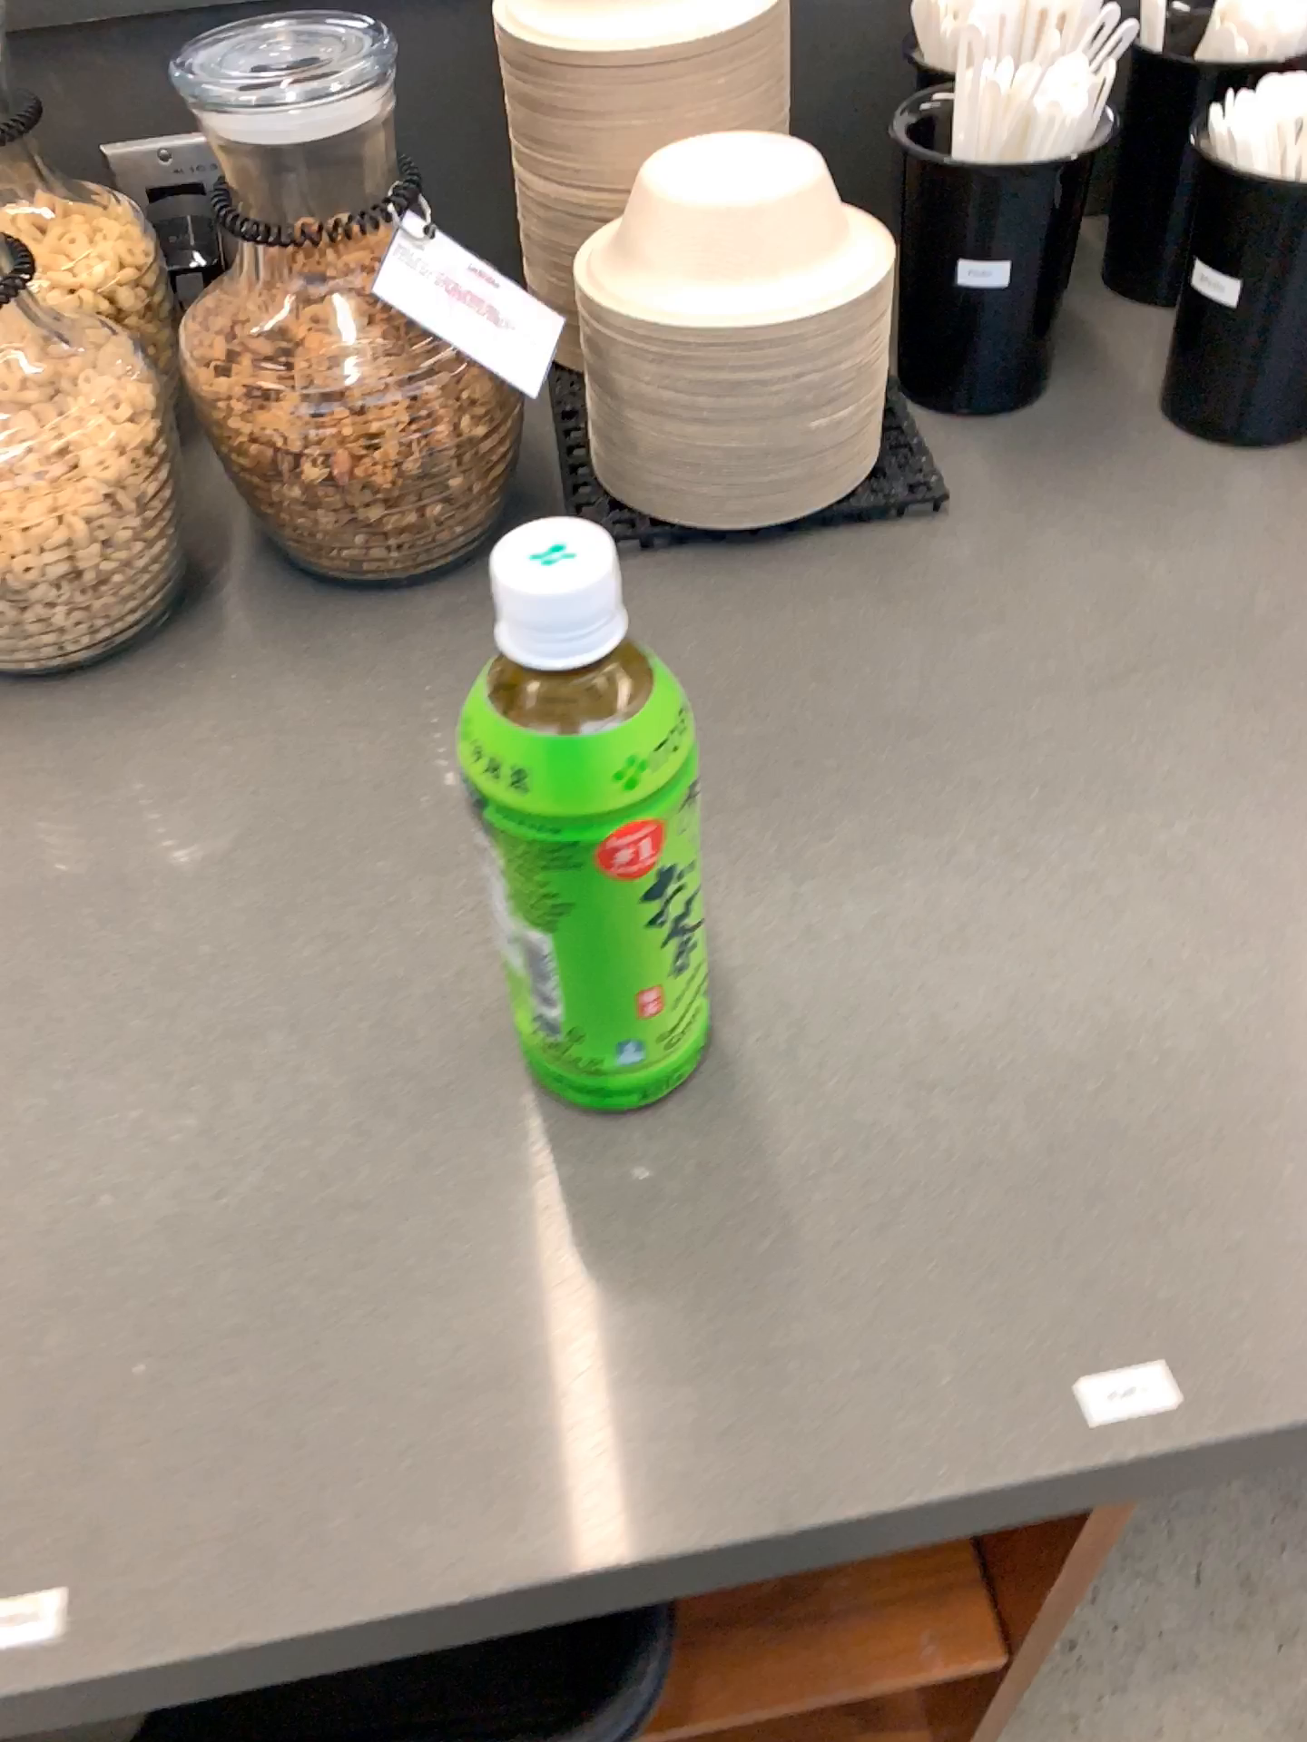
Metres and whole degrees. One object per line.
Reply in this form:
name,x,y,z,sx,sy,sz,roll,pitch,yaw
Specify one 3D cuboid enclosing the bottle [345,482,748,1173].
bottle,-0.020,-0.002,0.400,0.070,0.199,0.070,-2,48,3
